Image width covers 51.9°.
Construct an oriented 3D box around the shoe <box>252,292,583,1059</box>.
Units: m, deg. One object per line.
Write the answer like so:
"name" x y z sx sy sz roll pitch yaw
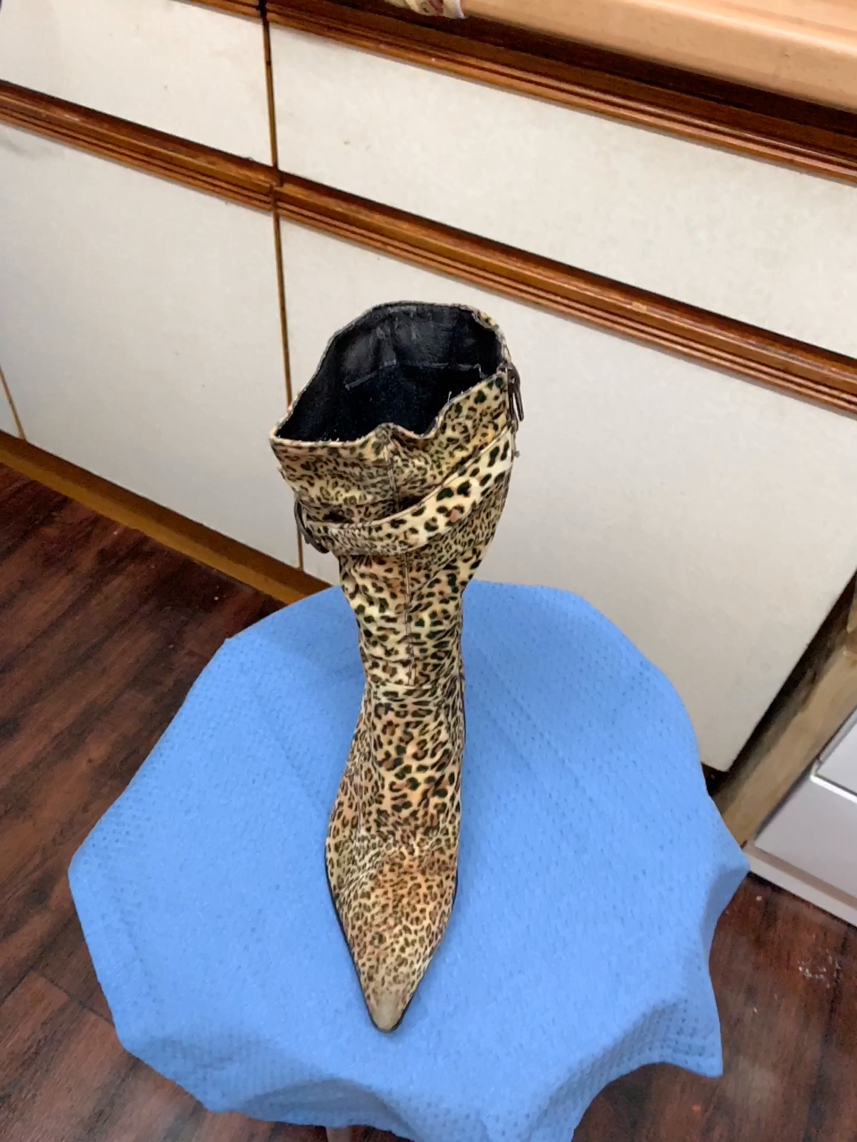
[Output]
"shoe" -0.014 0.076 0.483 0.100 0.347 0.262 3 48 -3
